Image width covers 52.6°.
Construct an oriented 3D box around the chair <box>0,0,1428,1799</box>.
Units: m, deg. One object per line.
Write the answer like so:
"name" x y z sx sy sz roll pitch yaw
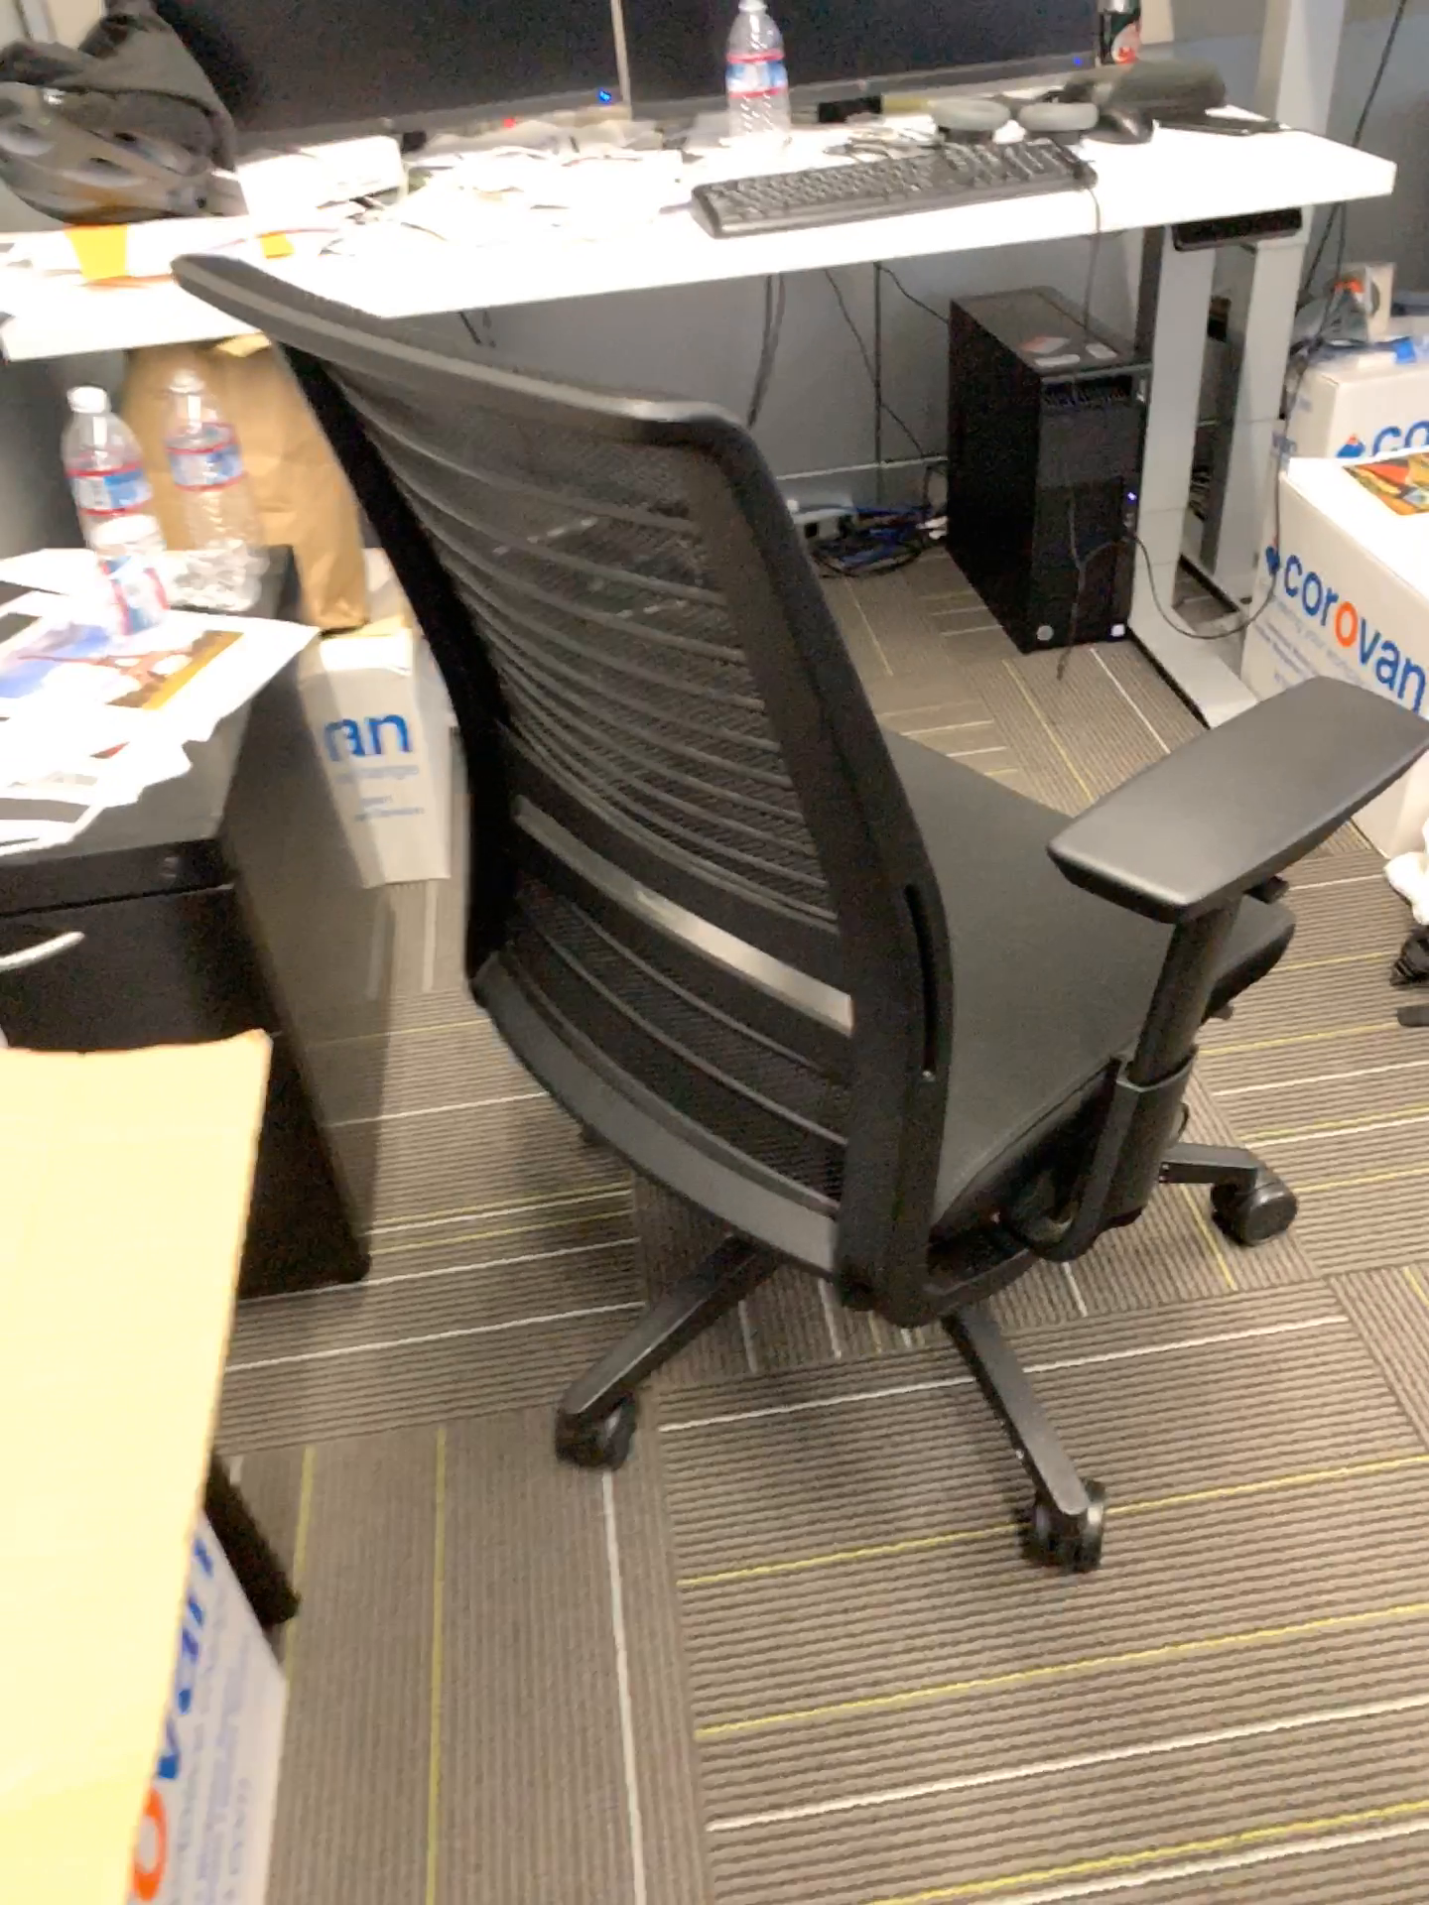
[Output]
"chair" 0.104 -0.107 1.031 0.663 0.914 0.681 28 49 36
